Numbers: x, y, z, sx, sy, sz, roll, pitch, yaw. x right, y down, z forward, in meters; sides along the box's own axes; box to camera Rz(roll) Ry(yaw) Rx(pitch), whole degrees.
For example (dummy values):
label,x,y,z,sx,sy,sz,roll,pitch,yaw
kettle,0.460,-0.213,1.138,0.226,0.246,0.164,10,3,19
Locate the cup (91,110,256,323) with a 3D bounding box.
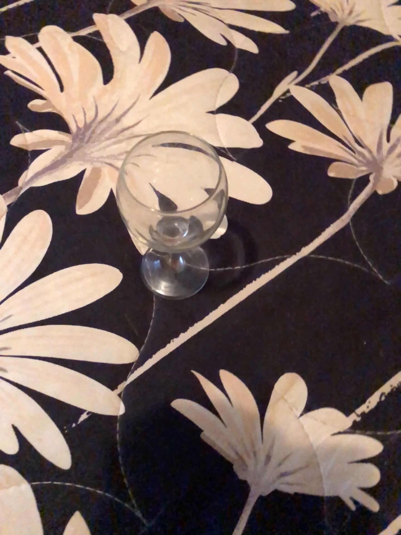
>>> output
label,x,y,z,sx,sy,sz,roll,pitch,yaw
cup,-0.020,-0.029,0.336,0.082,0.139,0.084,1,66,-1
